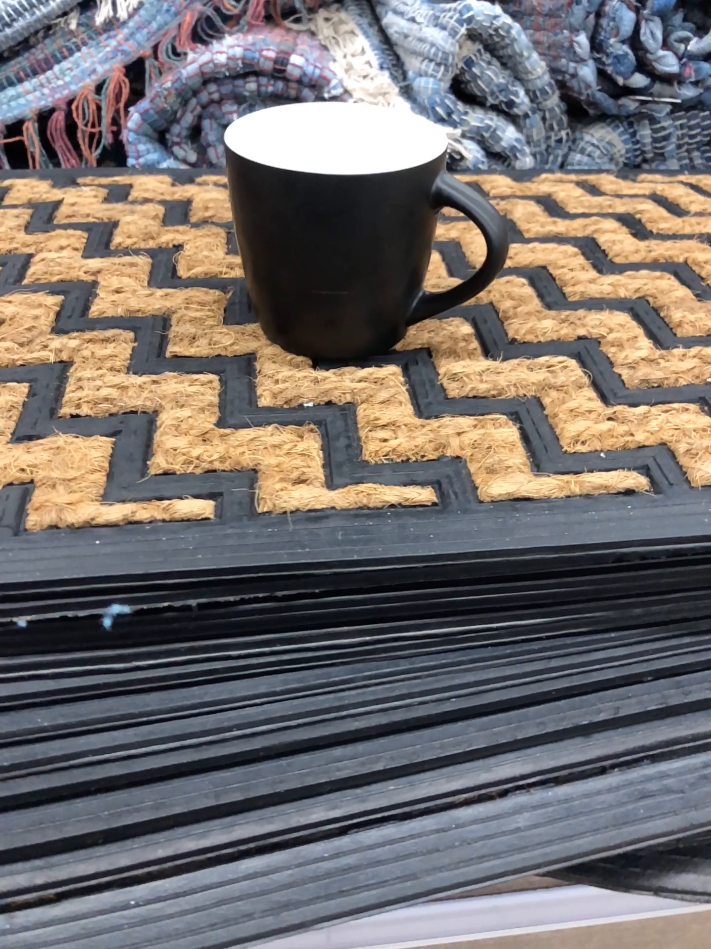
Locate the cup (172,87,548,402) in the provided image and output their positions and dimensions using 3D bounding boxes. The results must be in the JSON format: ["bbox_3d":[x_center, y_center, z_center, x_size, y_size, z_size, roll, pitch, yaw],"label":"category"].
[{"bbox_3d":[0.004,-0.104,0.338,0.123,0.081,0.090,18,43,19],"label":"cup"}]
